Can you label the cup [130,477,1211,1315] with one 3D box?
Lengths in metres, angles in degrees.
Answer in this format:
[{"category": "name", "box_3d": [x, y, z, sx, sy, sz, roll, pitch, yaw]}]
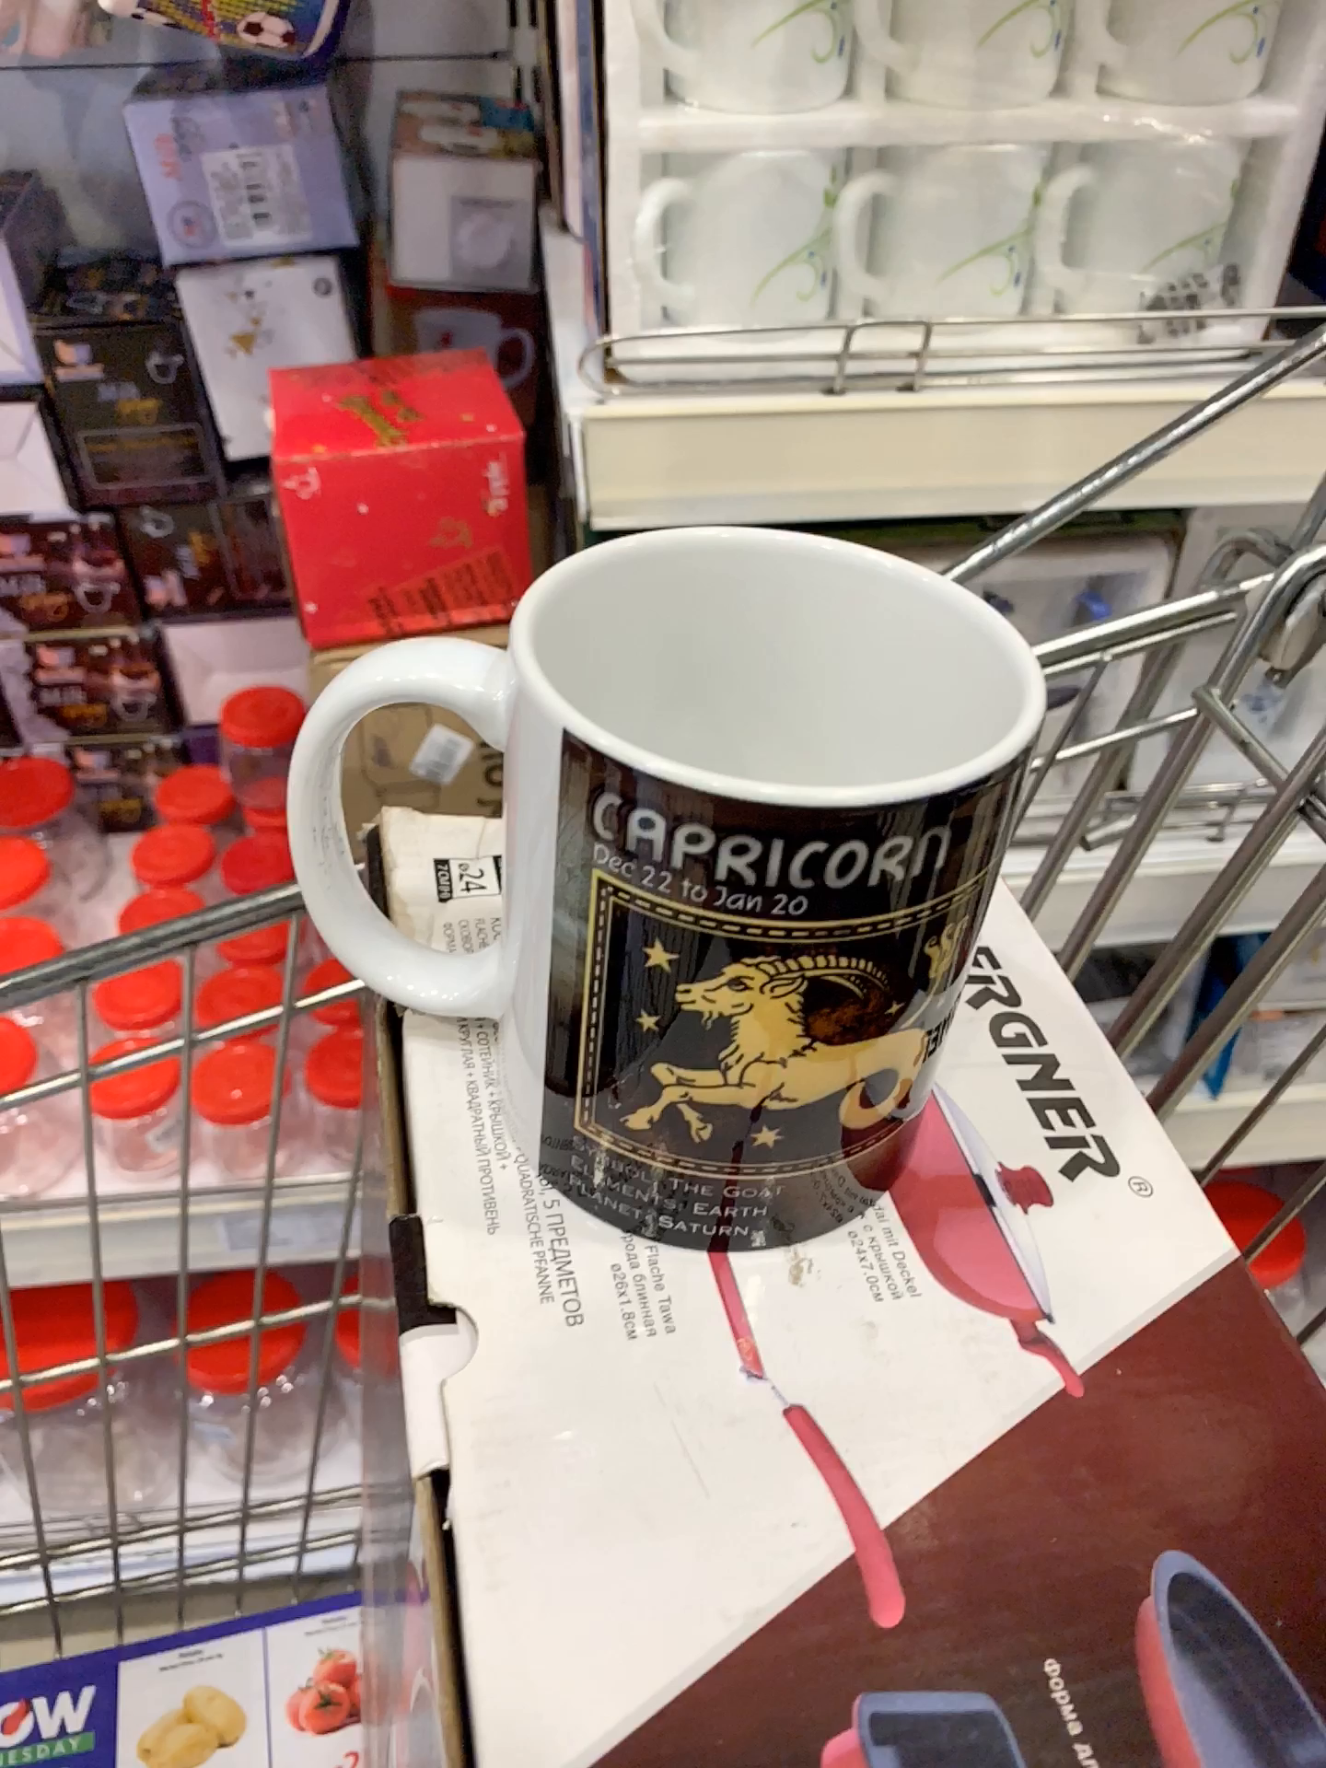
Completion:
[{"category": "cup", "box_3d": [-0.001, 0.002, 0.212, 0.120, 0.090, 0.080, 4, 40, -2]}]
